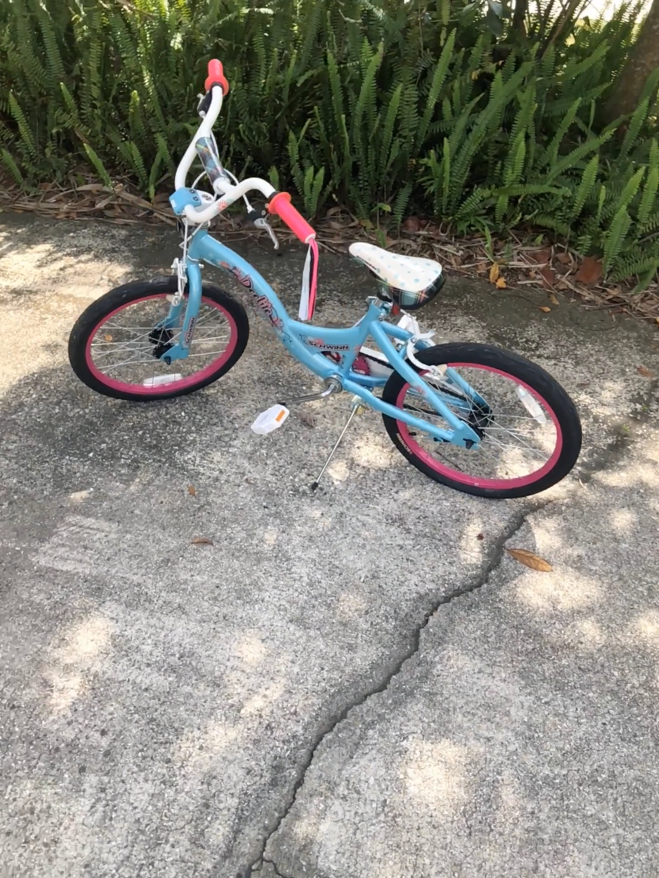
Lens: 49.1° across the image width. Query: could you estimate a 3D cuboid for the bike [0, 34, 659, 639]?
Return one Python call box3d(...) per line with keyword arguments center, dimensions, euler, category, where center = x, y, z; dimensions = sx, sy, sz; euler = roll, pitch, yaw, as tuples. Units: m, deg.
box3d(center=(-0.056, -0.265, 1.642), dimensions=(1.309, 0.923, 0.703), euler=(12, 38, 10), category="bike")
